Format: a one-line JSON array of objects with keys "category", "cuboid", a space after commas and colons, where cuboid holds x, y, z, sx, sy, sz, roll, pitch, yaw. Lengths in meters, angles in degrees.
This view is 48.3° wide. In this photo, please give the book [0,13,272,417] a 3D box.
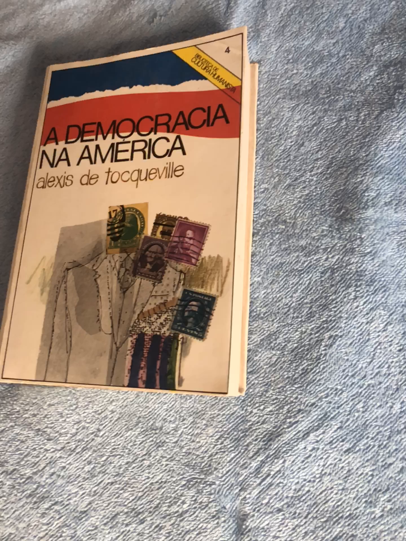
[{"category": "book", "cuboid": [-0.036, -0.030, 0.259, 0.140, 0.050, 0.200, 0, 79, 17]}]
